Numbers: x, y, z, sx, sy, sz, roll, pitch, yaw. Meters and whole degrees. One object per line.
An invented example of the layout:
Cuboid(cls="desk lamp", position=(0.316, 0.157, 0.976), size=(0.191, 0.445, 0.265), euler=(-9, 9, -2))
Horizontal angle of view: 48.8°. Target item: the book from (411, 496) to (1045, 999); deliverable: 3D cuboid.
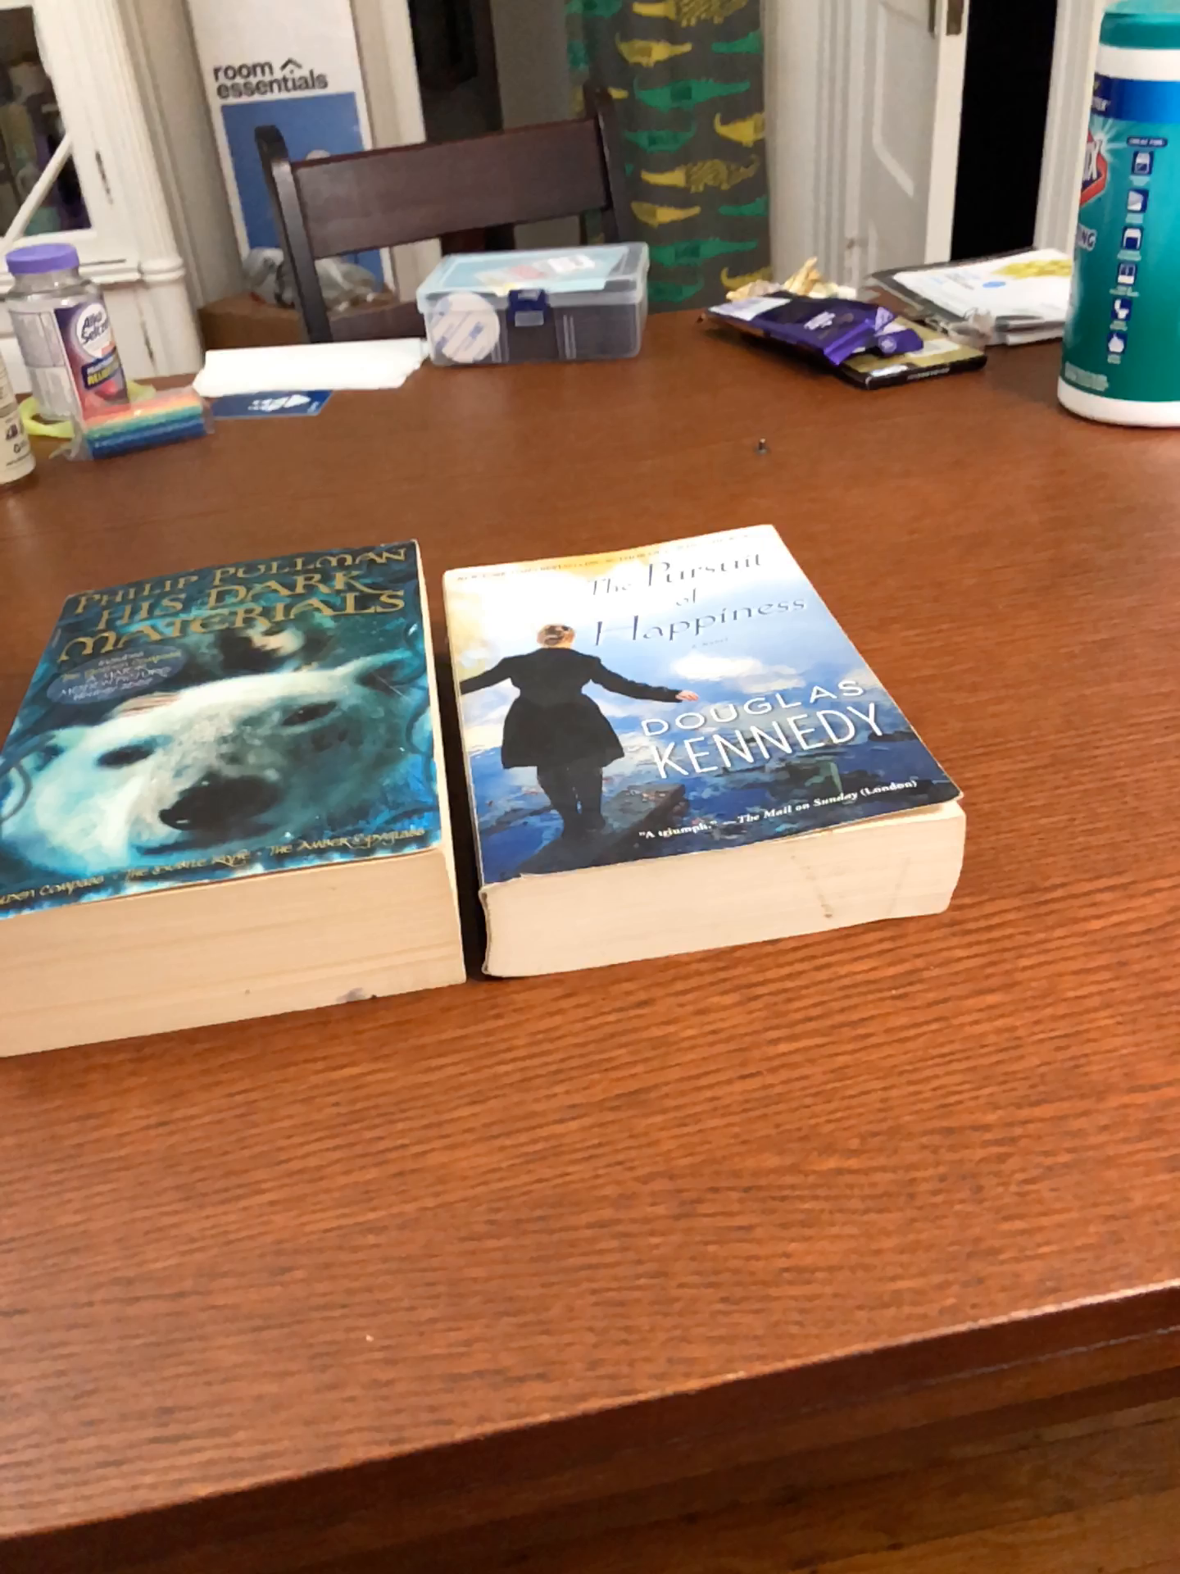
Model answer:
Cuboid(cls="book", position=(0.029, -0.034, 0.493), size=(0.180, 0.040, 0.252), euler=(-8, 34, -5))

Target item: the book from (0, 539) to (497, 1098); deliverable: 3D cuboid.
Cuboid(cls="book", position=(-0.138, -0.009, 0.488), size=(0.180, 0.050, 0.252), euler=(-8, 34, -5))
